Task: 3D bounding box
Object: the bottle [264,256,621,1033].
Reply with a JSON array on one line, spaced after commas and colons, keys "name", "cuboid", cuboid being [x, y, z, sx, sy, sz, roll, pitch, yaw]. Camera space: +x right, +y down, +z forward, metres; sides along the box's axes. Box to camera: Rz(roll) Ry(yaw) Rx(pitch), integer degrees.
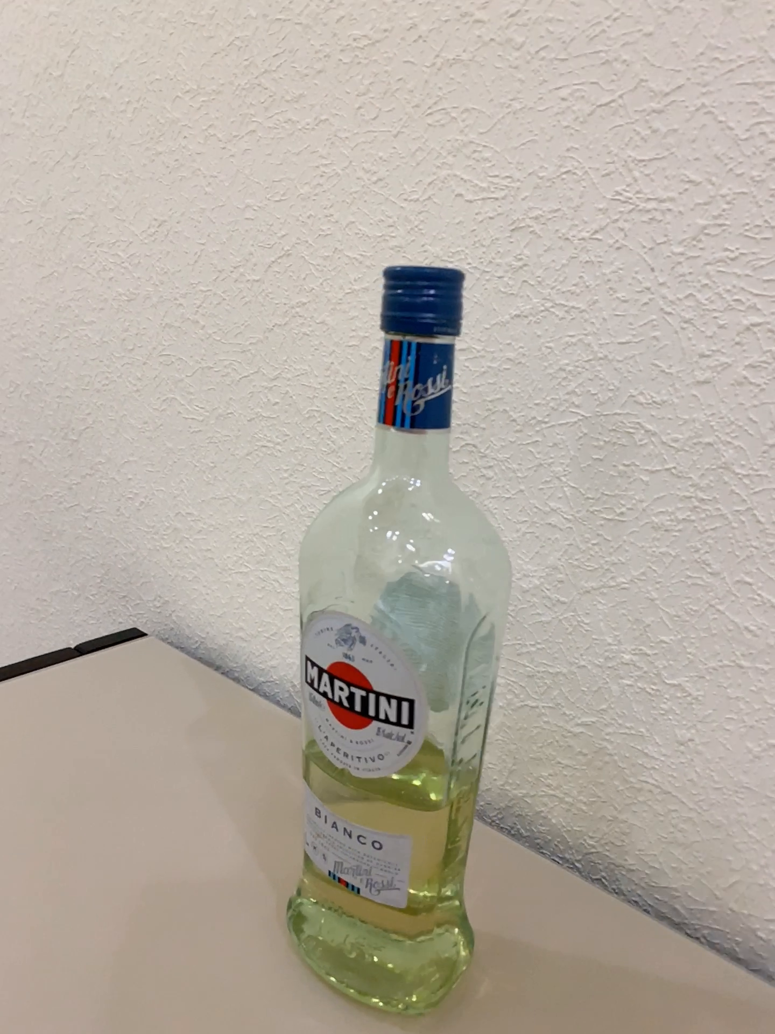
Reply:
[{"name": "bottle", "cuboid": [0.015, 0.055, 0.339, 0.100, 0.309, 0.080, 14, 18, 35]}]
